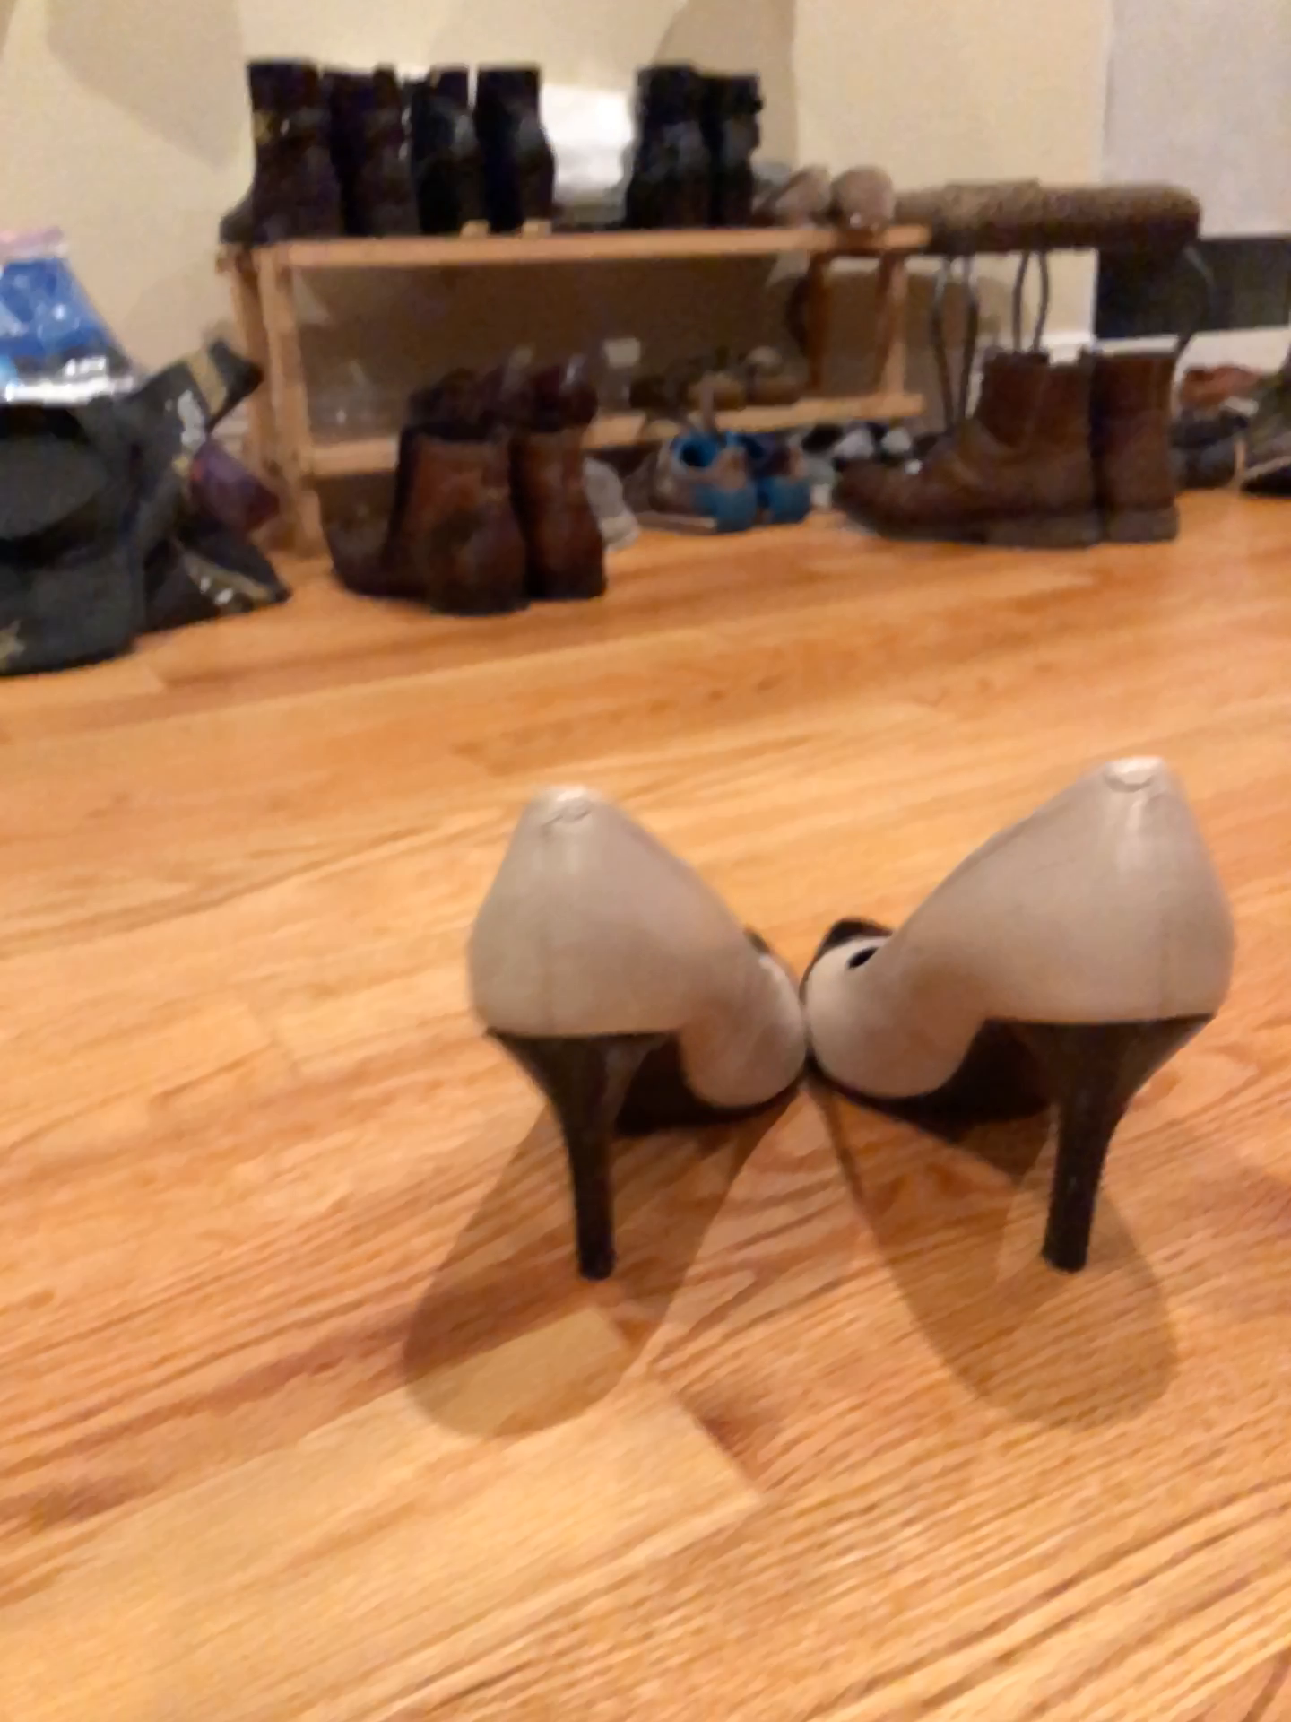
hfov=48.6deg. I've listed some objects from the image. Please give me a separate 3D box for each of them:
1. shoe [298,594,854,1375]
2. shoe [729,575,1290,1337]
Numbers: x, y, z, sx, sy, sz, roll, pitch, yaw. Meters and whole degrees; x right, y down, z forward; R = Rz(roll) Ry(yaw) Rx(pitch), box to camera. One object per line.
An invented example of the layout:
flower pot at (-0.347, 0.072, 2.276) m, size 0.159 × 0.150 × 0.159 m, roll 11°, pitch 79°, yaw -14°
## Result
shoe at (0.001, 0.012, 0.433) m, size 0.085 × 0.138 × 0.236 m, roll 4°, pitch 22°, yaw 17°
shoe at (0.099, 0.005, 0.439) m, size 0.085 × 0.138 × 0.236 m, roll -7°, pitch 22°, yaw -11°
